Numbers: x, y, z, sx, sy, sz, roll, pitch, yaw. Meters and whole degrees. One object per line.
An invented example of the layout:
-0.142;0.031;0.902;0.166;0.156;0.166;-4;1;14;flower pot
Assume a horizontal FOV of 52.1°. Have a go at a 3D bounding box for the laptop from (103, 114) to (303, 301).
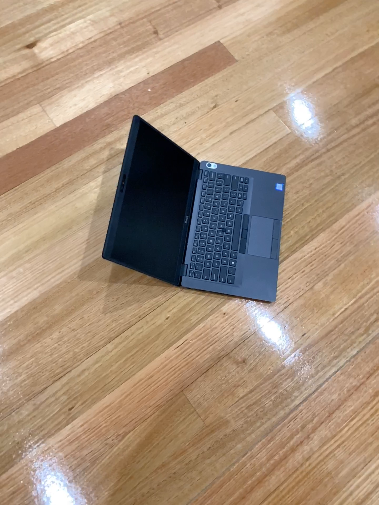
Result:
0.037;-0.094;0.854;0.372;0.134;0.321;10;71;-3;laptop
